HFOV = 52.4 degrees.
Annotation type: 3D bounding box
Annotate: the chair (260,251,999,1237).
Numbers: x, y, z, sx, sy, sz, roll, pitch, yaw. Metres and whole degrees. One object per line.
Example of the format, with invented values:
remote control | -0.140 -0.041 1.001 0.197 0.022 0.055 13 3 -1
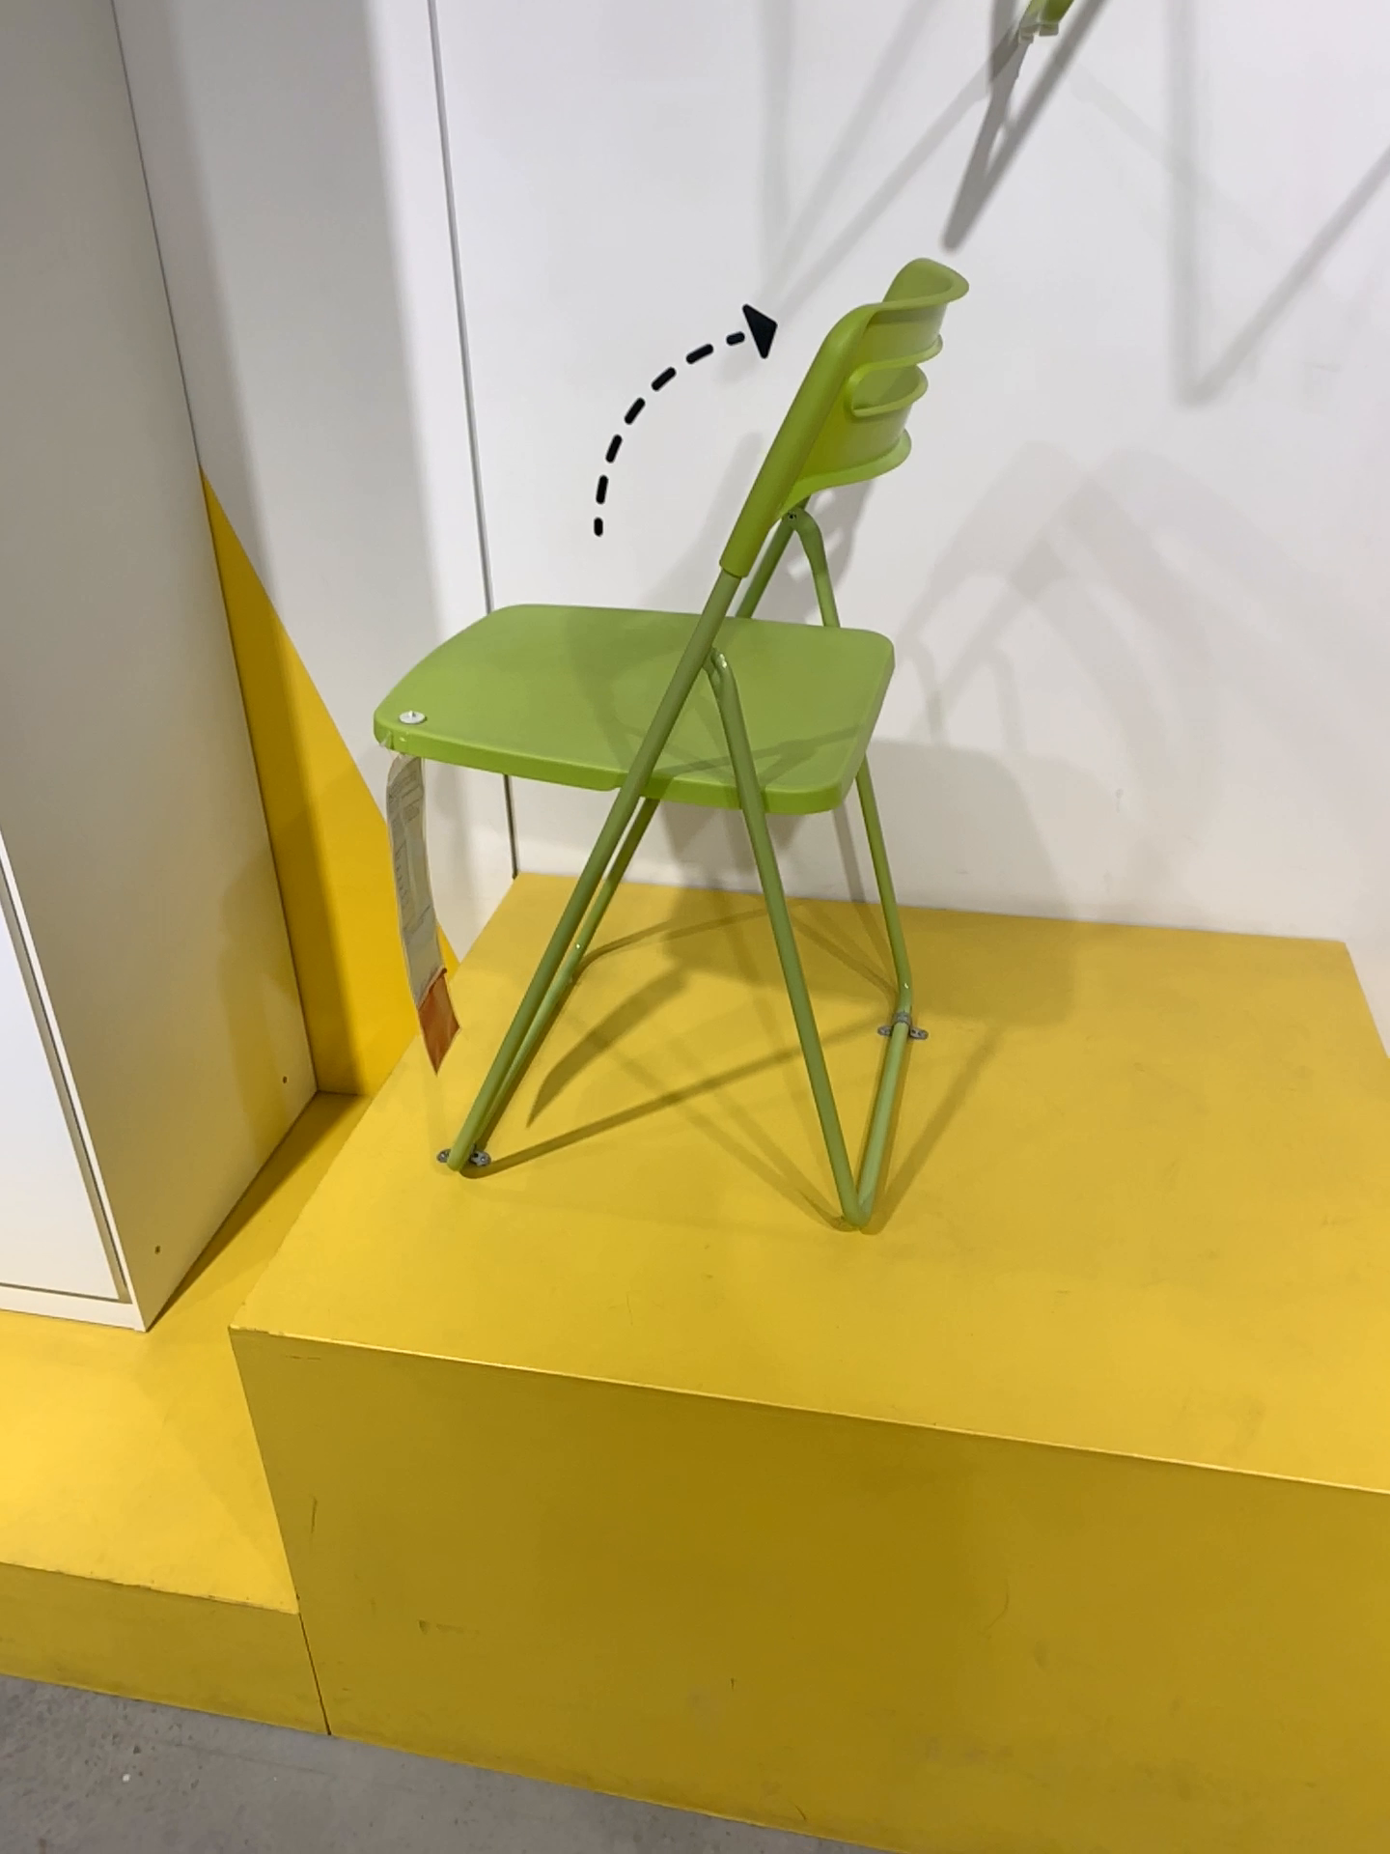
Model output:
chair | -0.006 -0.183 1.253 0.460 0.717 0.452 6 30 12
